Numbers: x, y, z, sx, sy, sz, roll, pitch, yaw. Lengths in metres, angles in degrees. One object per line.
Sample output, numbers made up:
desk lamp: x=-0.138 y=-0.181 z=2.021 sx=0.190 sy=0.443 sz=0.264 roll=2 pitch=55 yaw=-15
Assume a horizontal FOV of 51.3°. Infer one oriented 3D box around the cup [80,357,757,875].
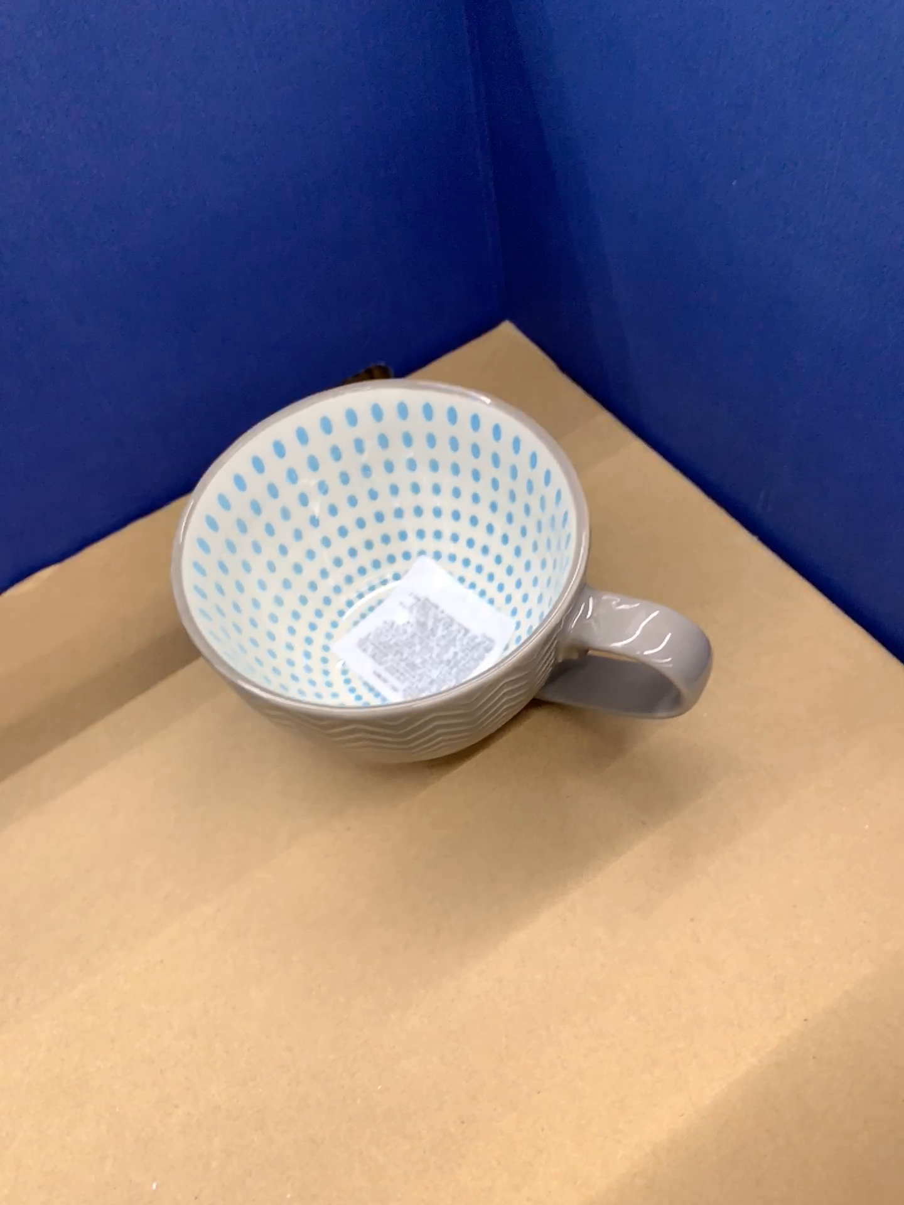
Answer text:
cup: x=-0.002 y=-0.004 z=0.266 sx=0.150 sy=0.058 sz=0.109 roll=10 pitch=56 yaw=16
